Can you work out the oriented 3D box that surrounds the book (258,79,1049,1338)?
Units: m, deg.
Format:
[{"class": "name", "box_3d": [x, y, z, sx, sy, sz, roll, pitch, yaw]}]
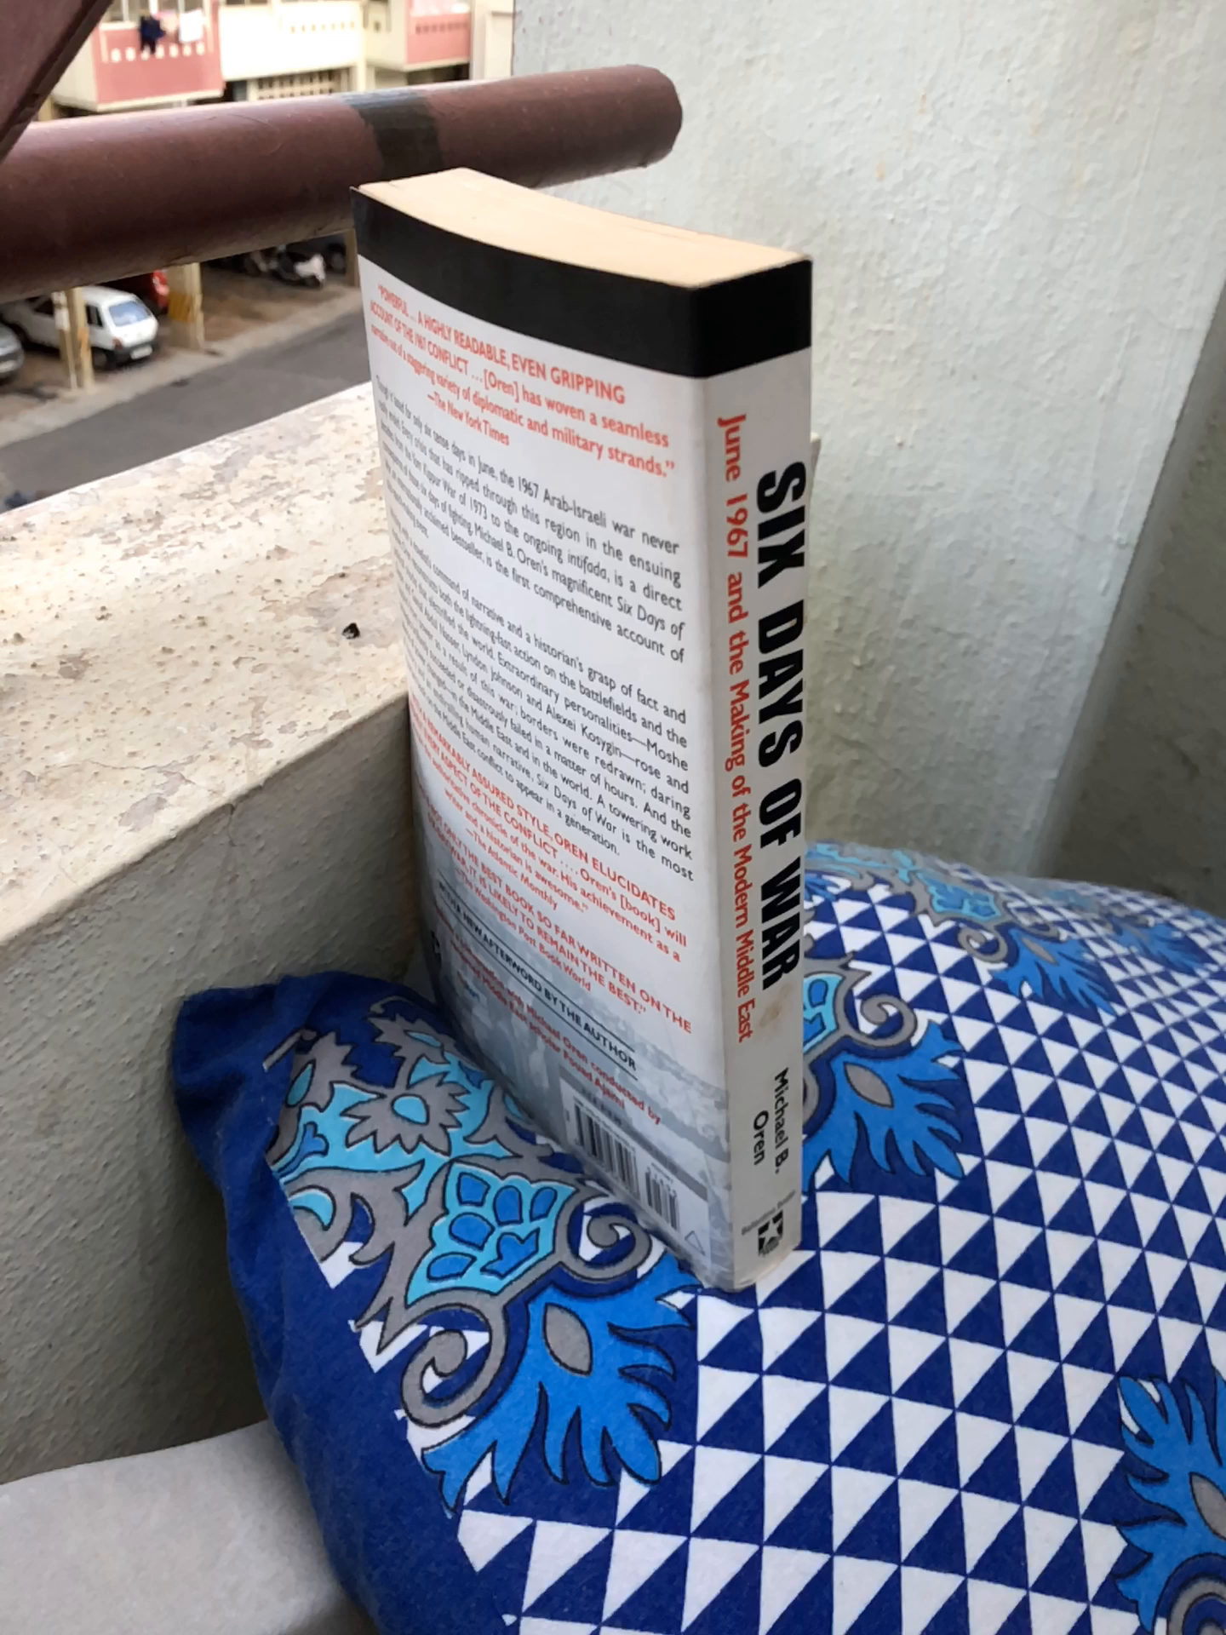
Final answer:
[{"class": "book", "box_3d": [-0.008, -0.026, 0.332, 0.050, 0.249, 0.180, -23, 42, -30]}]
